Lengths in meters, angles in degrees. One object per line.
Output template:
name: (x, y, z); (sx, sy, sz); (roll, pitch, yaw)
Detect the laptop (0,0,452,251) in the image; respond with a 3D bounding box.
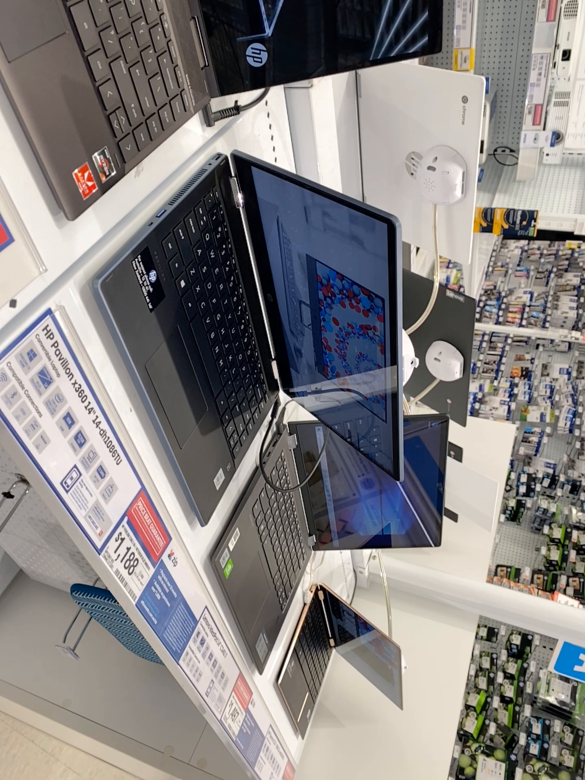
laptop: (-0.035, -0.321, 0.349); (0.327, 0.173, 0.325); (77, 33, -43)

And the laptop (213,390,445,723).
laptop: (0.080, 0.228, 0.846); (0.307, 0.199, 0.294); (79, 30, -42)

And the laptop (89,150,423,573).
laptop: (0.004, -0.023, 0.565); (0.314, 0.189, 0.211); (78, 30, -44)
